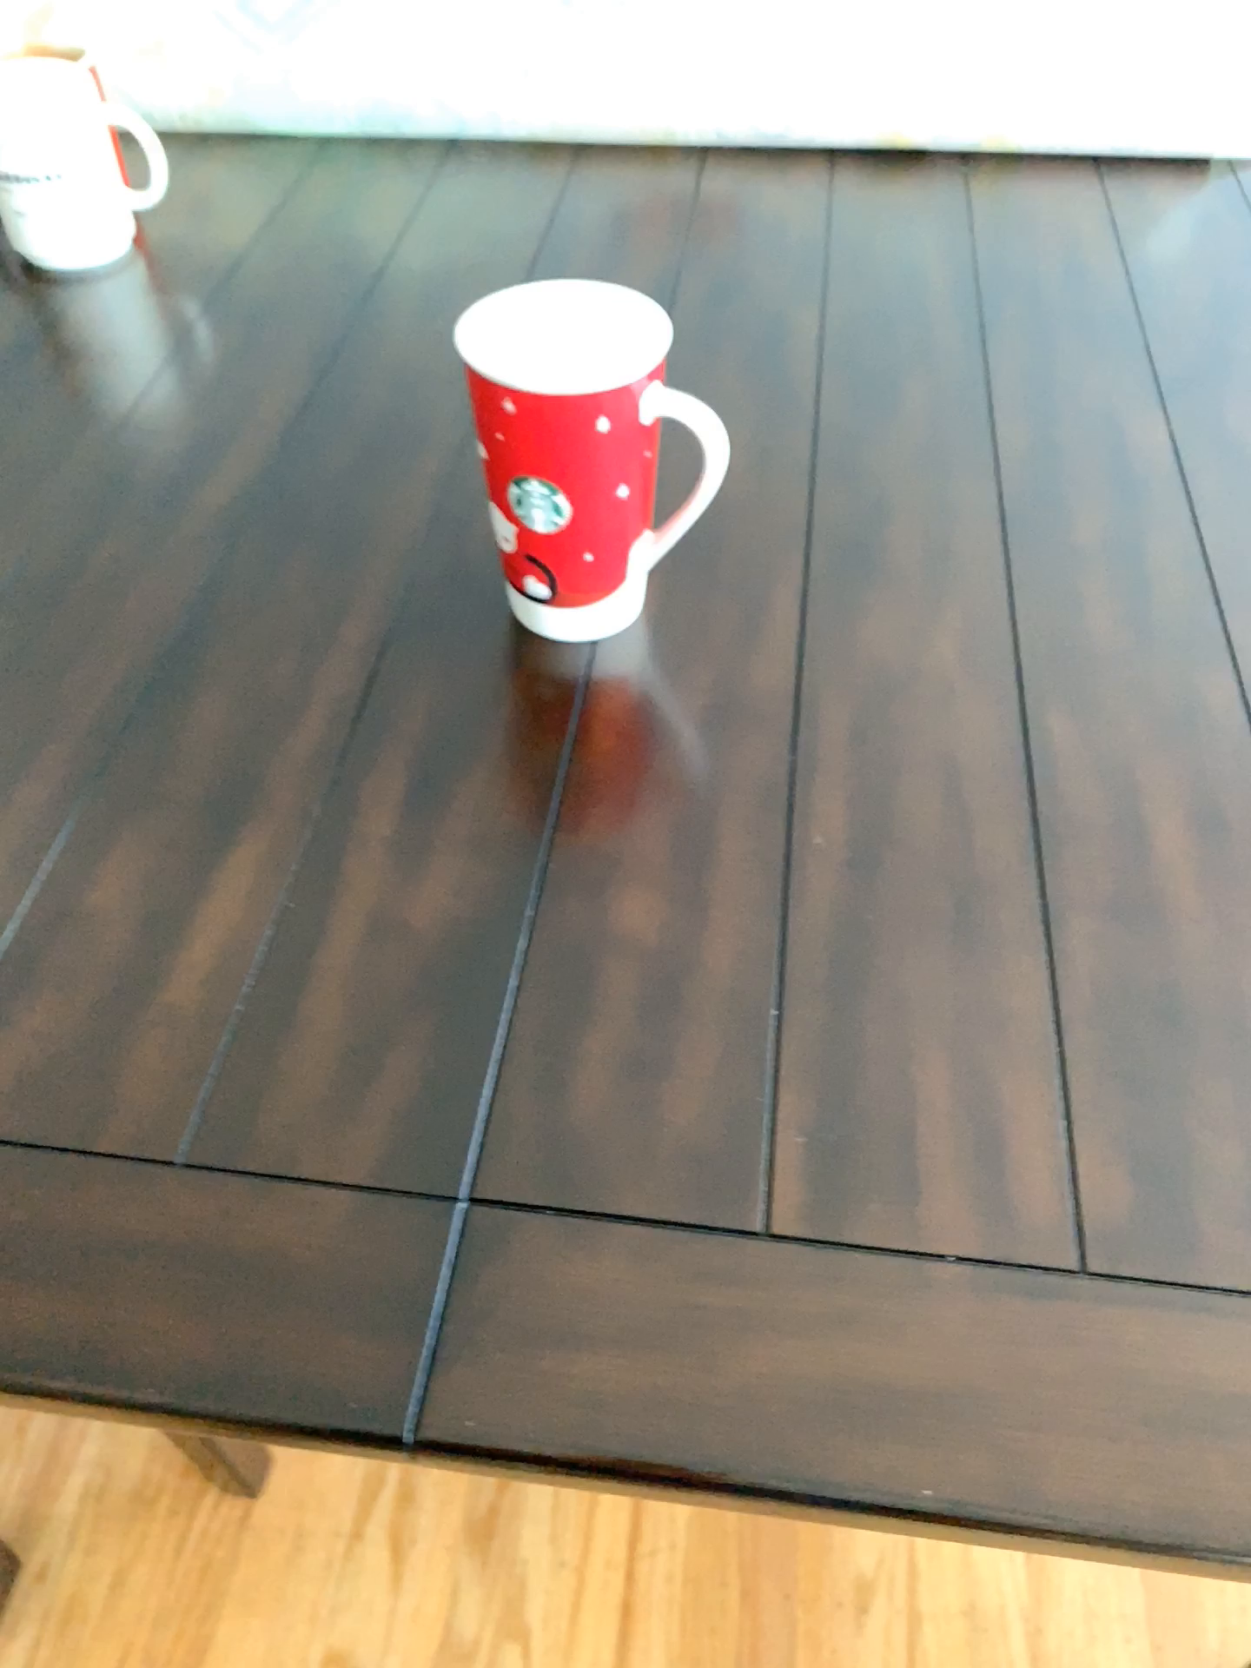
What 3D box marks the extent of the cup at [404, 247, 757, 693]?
[{"bbox_3d":[-0.017,-0.161,0.579,0.120,0.149,0.080,19,51,16],"label":"cup"}]
